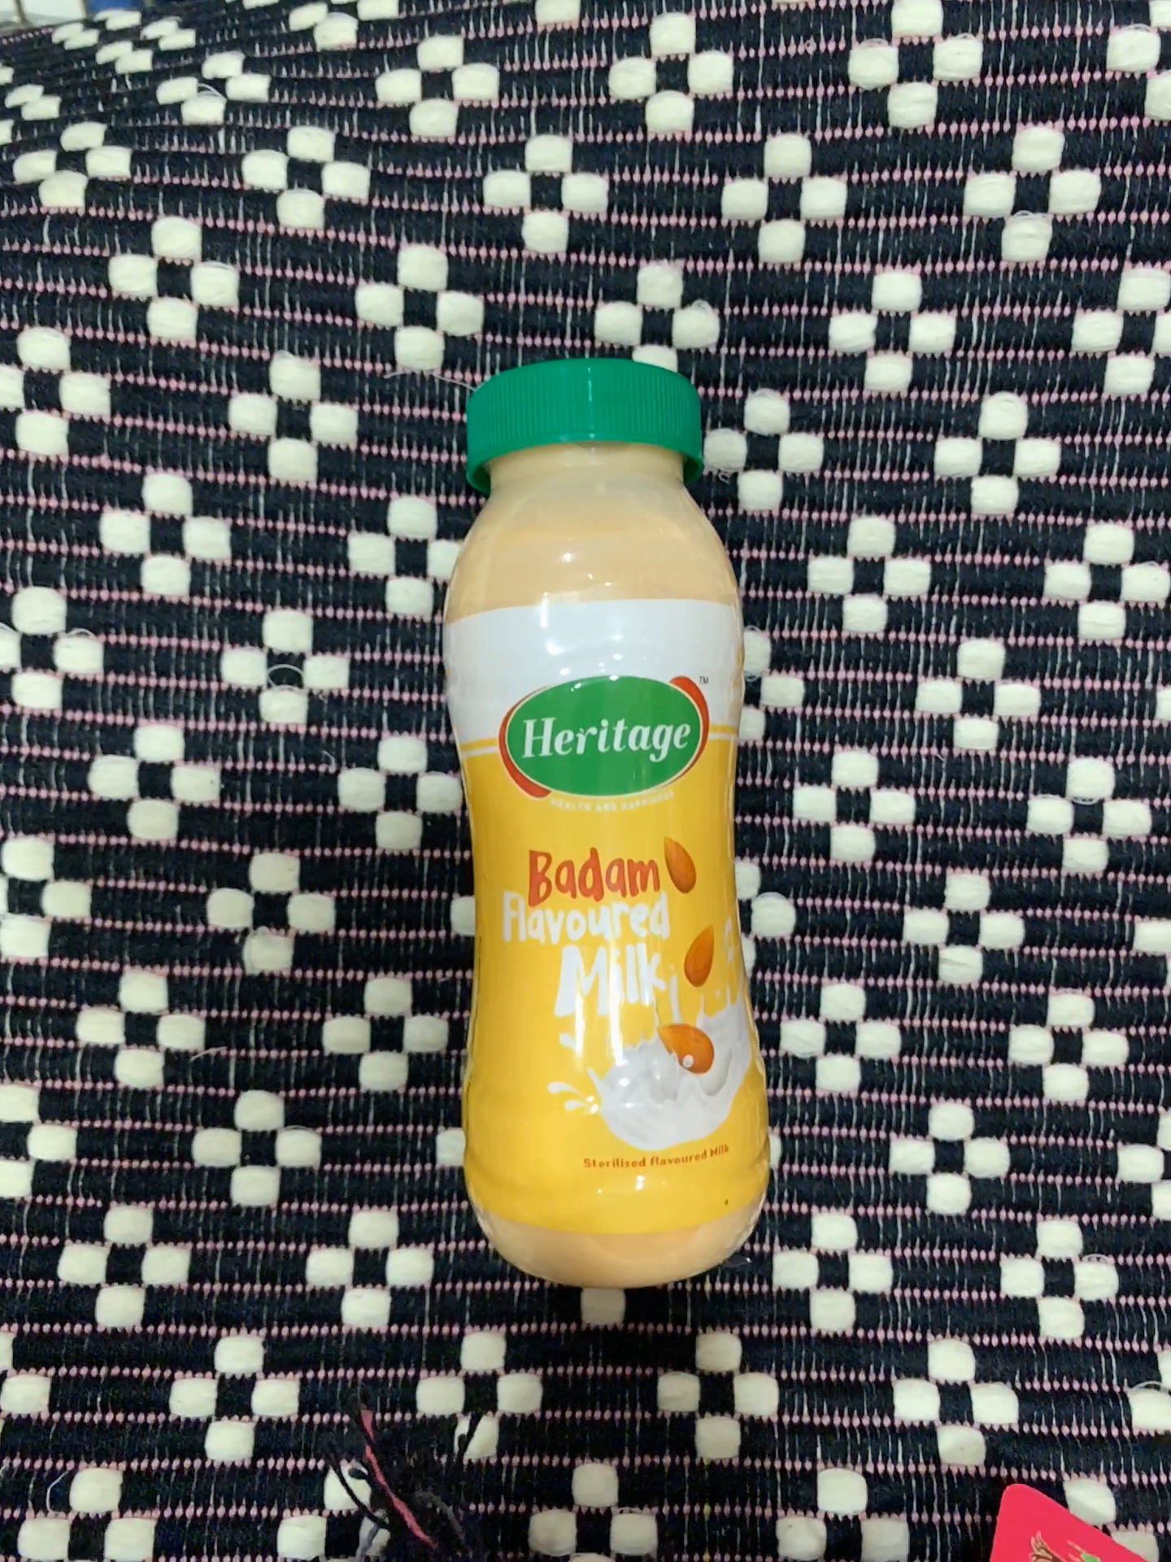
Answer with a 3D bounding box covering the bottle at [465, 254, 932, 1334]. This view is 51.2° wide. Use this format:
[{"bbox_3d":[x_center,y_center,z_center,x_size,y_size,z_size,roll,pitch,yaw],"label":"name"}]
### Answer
[{"bbox_3d":[0.014,0.000,0.194,0.060,0.040,0.150,-1,85,-9],"label":"bottle"}]
